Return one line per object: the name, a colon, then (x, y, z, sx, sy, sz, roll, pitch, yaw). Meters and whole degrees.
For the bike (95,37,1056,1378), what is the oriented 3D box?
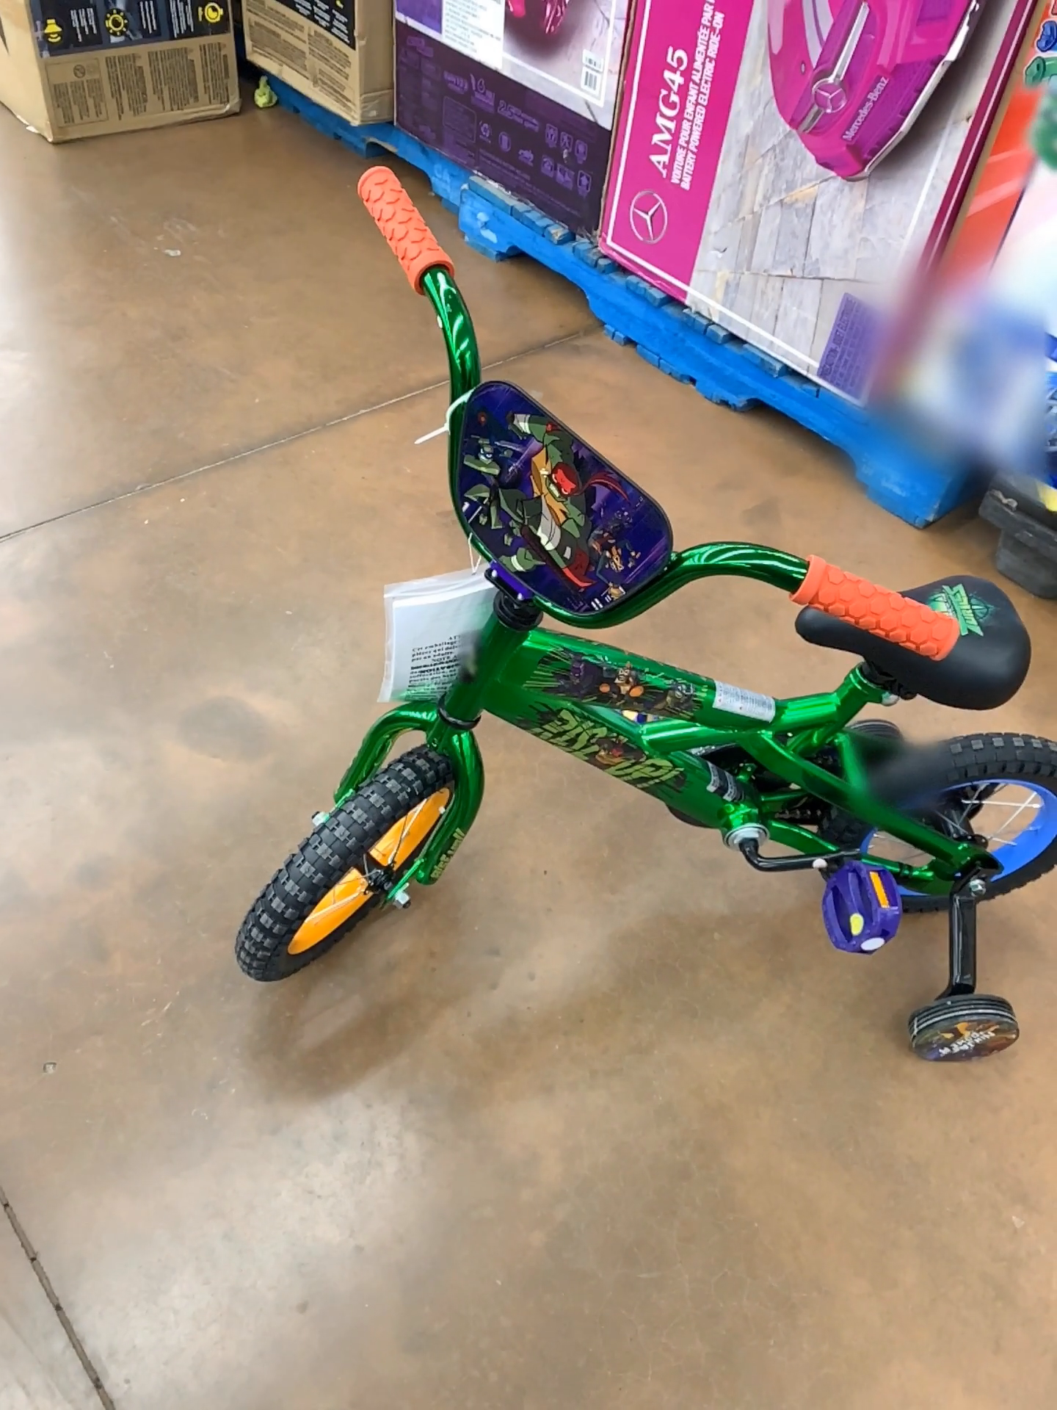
bike: (0.218, 0.033, 0.839, 0.851, 0.732, 0.491, -5, 48, -17)
